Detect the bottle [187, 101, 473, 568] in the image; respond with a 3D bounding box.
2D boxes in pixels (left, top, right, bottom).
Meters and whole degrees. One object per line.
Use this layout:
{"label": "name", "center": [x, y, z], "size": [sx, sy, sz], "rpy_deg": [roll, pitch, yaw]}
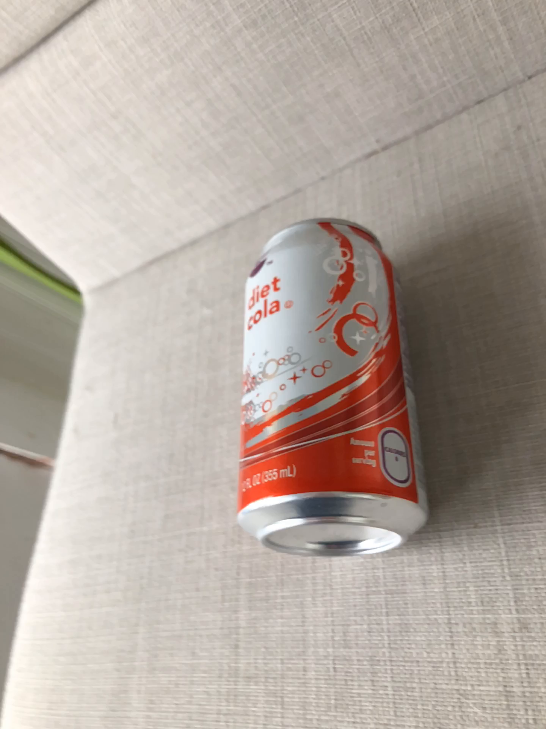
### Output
{"label": "bottle", "center": [0.017, -0.009, 0.231], "size": [0.070, 0.062, 0.150], "rpy_deg": [-18, 59, 29]}
